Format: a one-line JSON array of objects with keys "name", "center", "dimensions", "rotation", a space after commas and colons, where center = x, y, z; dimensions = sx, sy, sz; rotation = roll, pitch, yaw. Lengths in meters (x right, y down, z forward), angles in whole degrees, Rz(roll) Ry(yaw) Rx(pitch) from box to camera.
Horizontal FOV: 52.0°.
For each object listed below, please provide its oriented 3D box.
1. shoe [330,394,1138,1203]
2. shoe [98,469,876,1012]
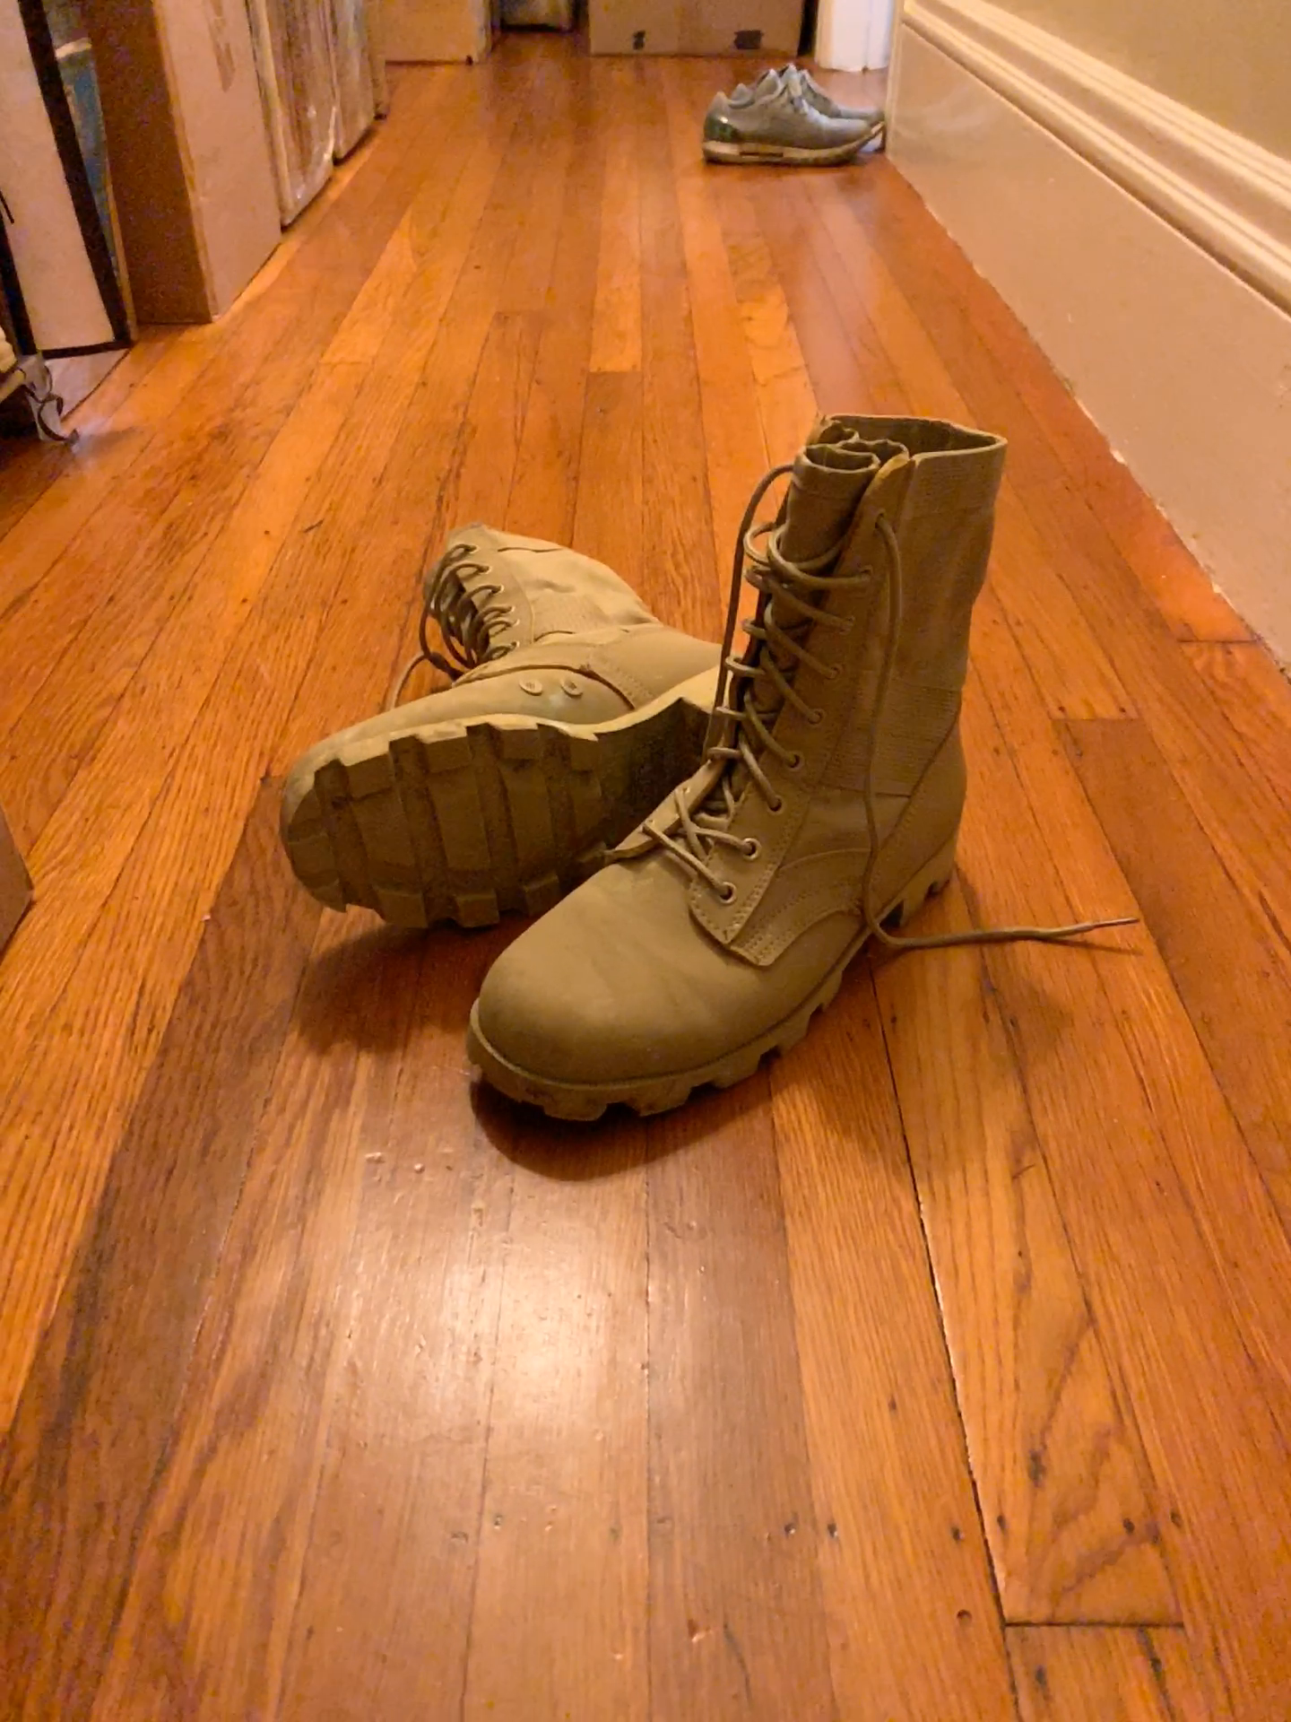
[{"name": "shoe", "center": [0.044, -0.041, 0.535], "dimensions": [0.291, 0.199, 0.121], "rotation": [-29, 46, -33]}, {"name": "shoe", "center": [-0.078, -0.090, 0.687], "dimensions": [0.290, 0.109, 0.261], "rotation": [-27, 39, -31]}]
